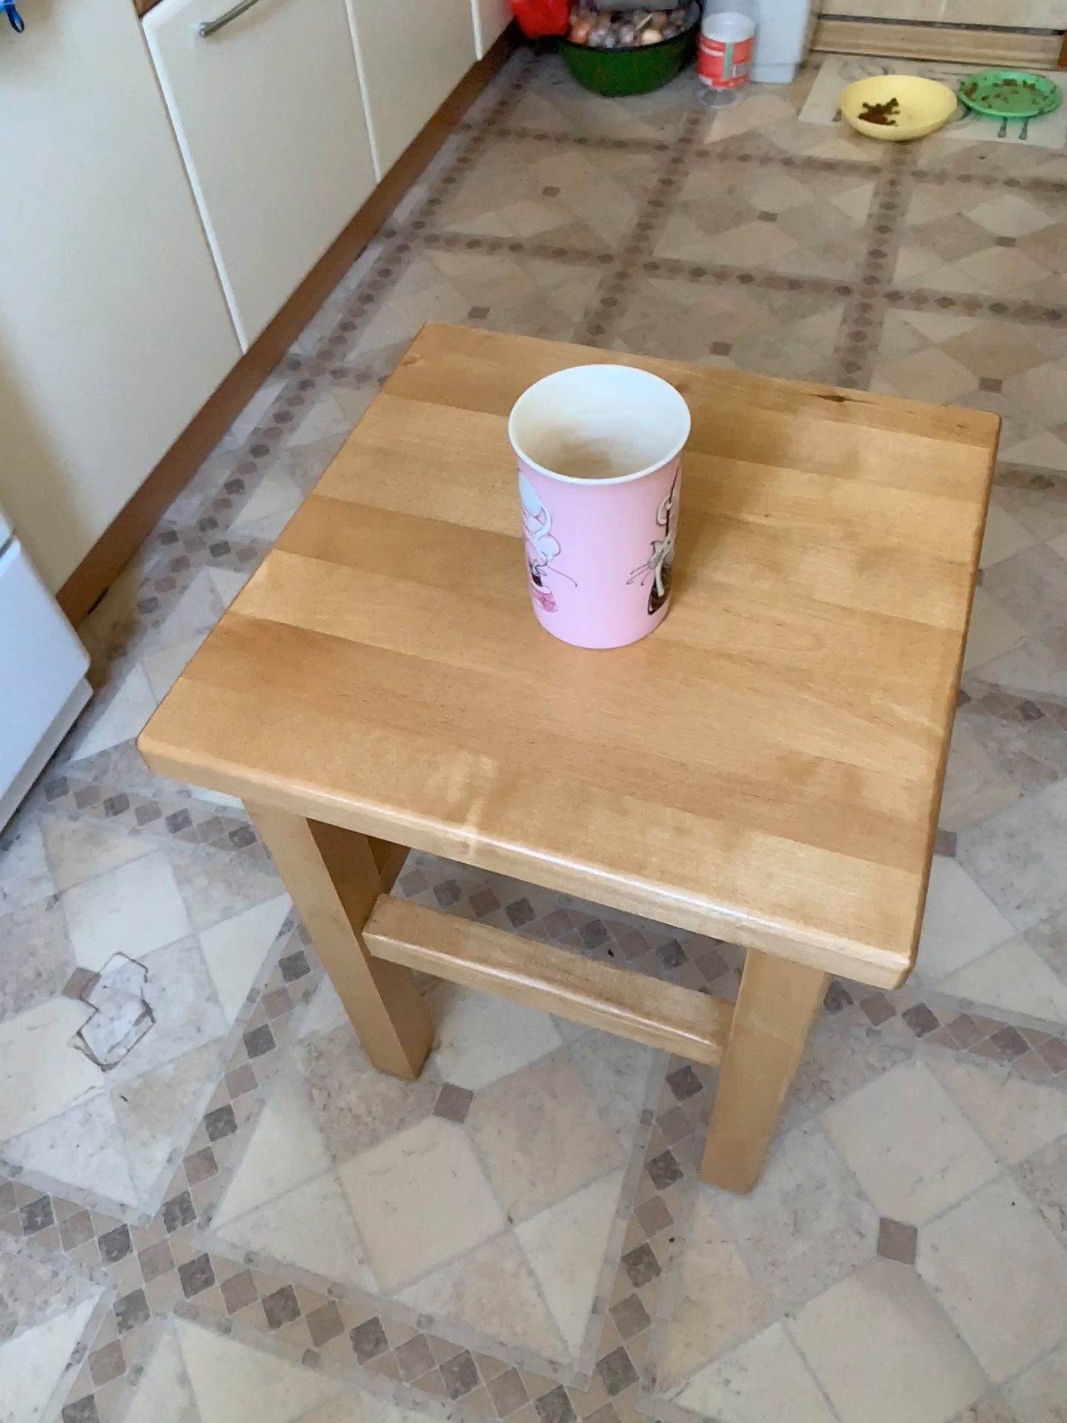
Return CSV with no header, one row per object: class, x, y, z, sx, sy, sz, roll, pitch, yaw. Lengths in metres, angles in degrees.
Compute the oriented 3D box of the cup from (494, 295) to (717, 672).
cup,0.028,-0.099,0.480,0.074,0.107,0.114,-6,52,-1
